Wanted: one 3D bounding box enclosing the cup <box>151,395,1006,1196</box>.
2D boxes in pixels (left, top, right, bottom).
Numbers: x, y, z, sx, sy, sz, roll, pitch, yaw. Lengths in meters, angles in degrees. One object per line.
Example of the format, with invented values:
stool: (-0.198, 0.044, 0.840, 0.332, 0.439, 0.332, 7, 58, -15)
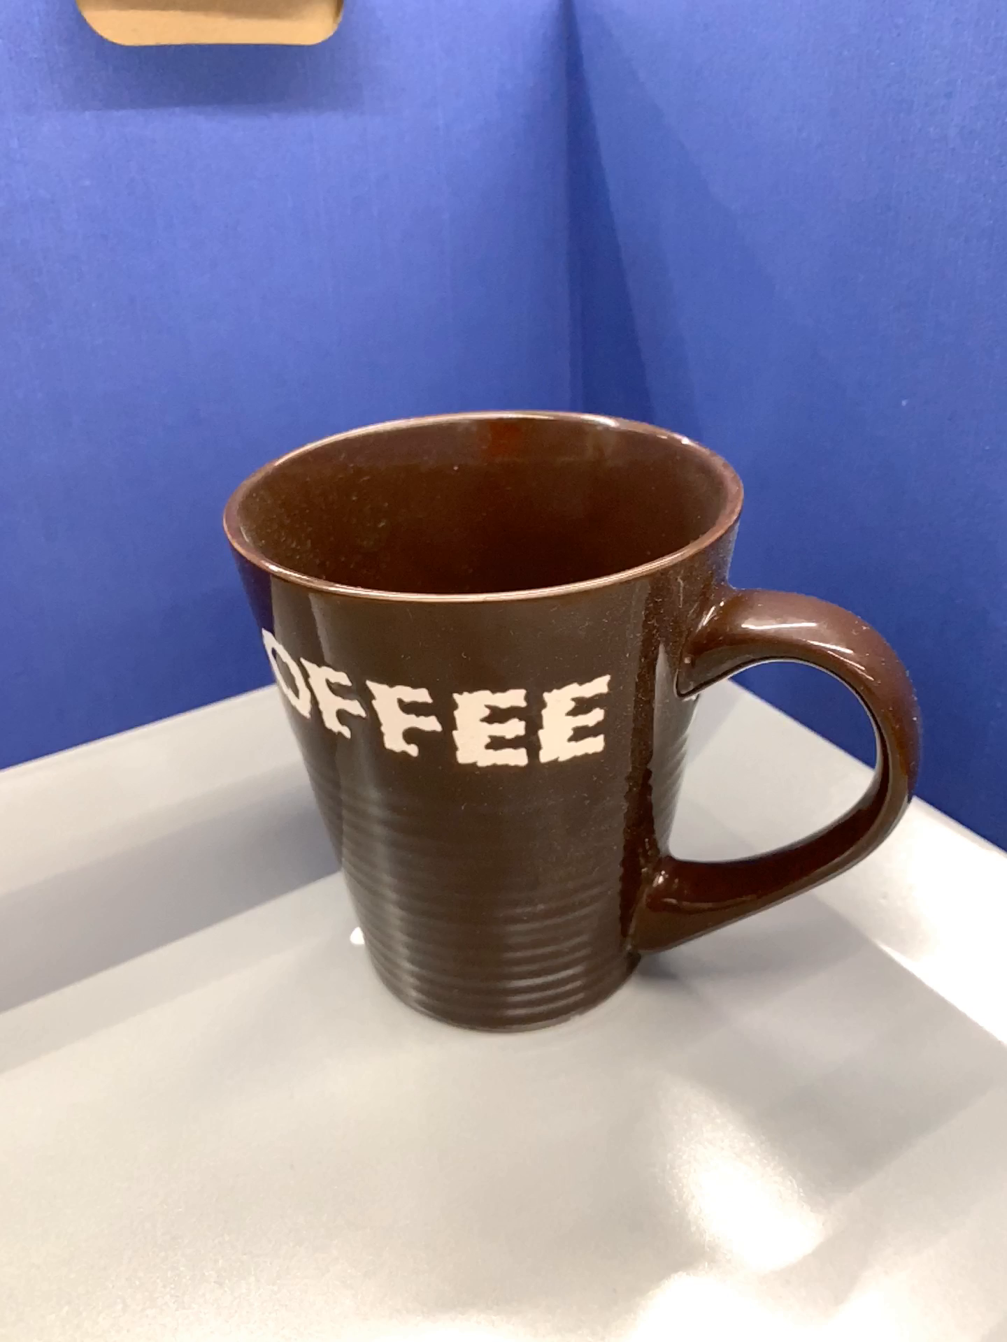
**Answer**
cup: (0.021, 0.011, 0.208, 0.128, 0.098, 0.089, 11, 32, 23)
